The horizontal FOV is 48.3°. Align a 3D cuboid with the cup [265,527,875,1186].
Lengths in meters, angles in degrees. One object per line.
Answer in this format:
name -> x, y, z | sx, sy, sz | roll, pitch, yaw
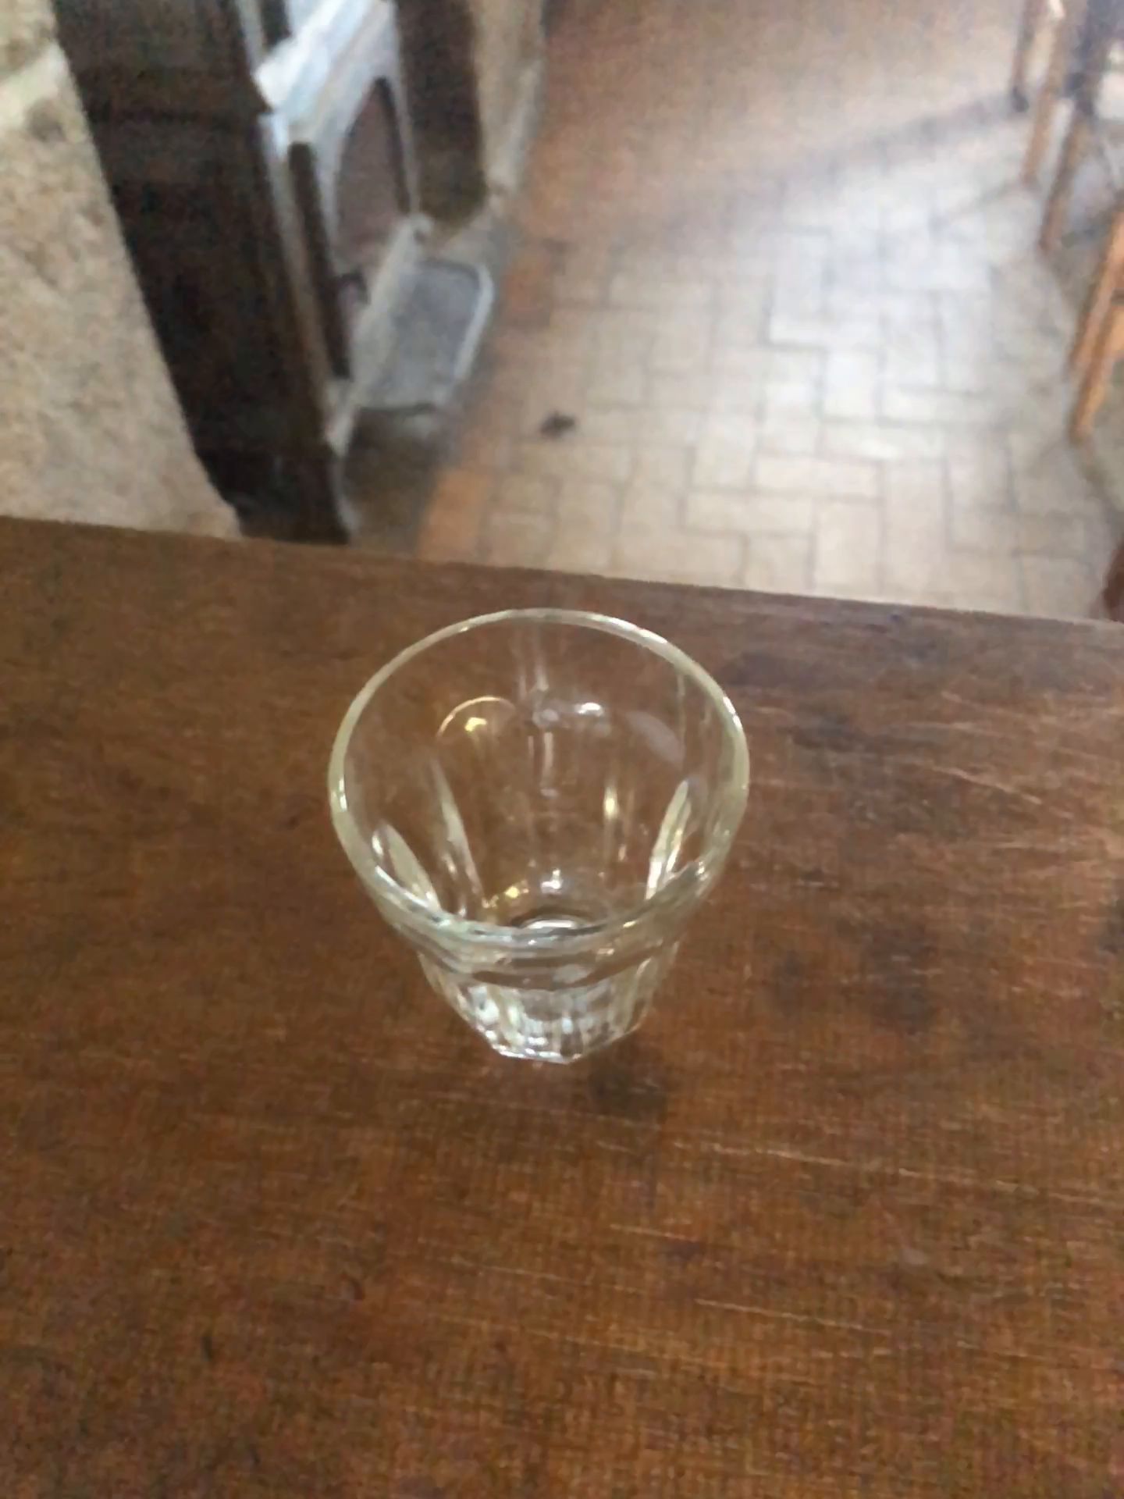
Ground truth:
cup -> 0.000, 0.021, 0.240 | 0.080, 0.080, 0.070 | -20, 53, -14
